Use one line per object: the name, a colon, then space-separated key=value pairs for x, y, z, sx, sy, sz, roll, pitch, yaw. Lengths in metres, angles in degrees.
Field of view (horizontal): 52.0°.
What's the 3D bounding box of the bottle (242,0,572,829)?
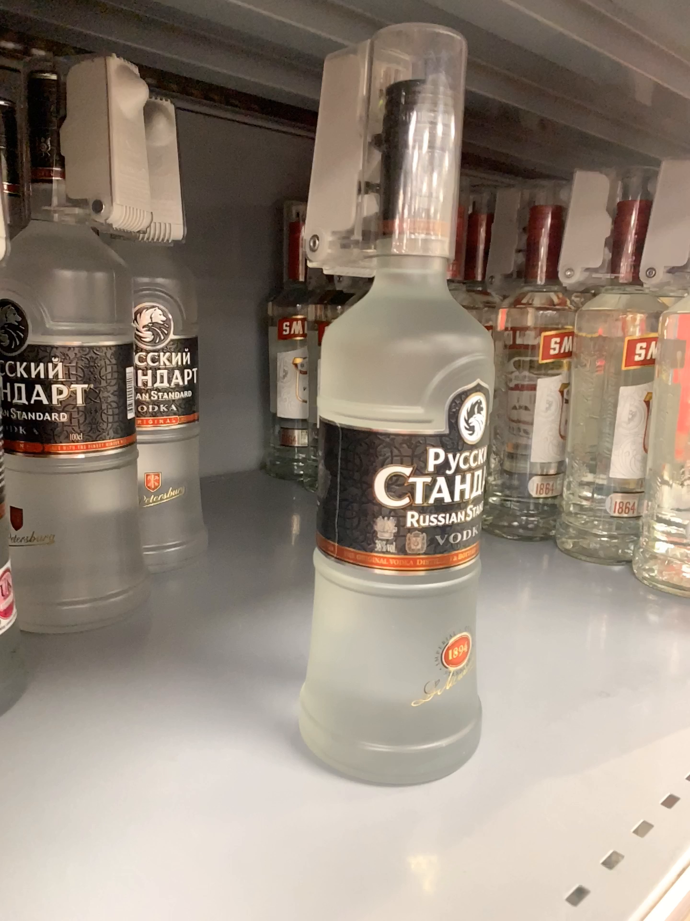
bottle: x=0.019 y=-0.016 z=0.301 sx=0.092 sy=0.289 sz=0.088 roll=2 pitch=11 yaw=0
